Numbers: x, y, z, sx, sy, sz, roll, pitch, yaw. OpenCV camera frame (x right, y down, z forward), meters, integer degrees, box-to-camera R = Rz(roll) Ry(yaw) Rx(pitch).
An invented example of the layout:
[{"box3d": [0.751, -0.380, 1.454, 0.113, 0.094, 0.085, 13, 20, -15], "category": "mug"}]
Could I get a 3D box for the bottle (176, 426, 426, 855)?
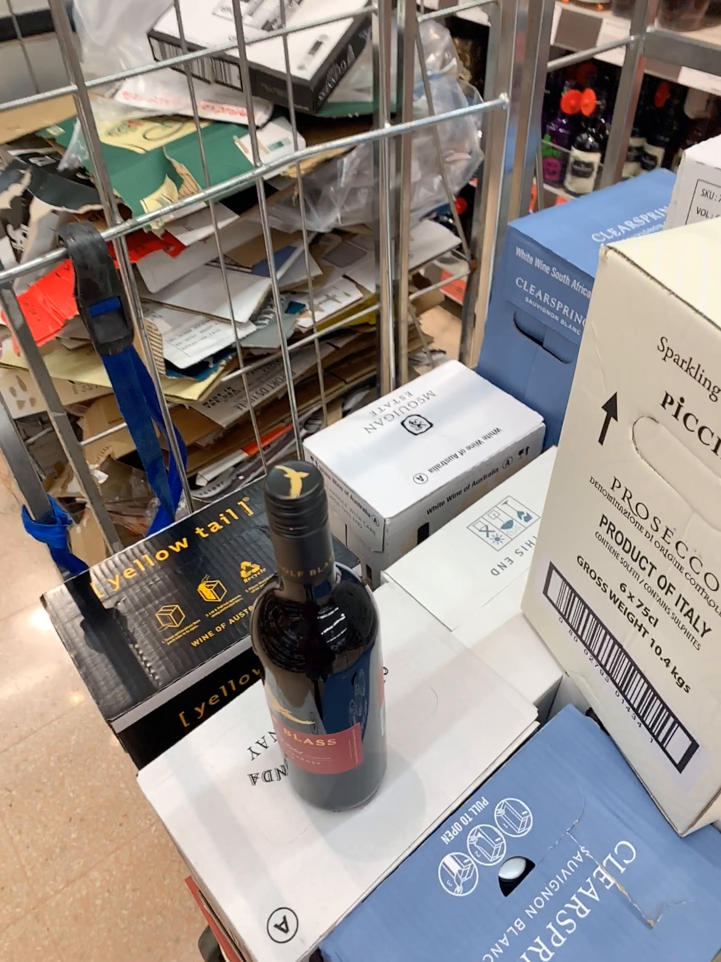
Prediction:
[{"box3d": [-0.024, 0.107, 0.420, 0.080, 0.270, 0.076, -1, 45, 1], "category": "bottle"}]
